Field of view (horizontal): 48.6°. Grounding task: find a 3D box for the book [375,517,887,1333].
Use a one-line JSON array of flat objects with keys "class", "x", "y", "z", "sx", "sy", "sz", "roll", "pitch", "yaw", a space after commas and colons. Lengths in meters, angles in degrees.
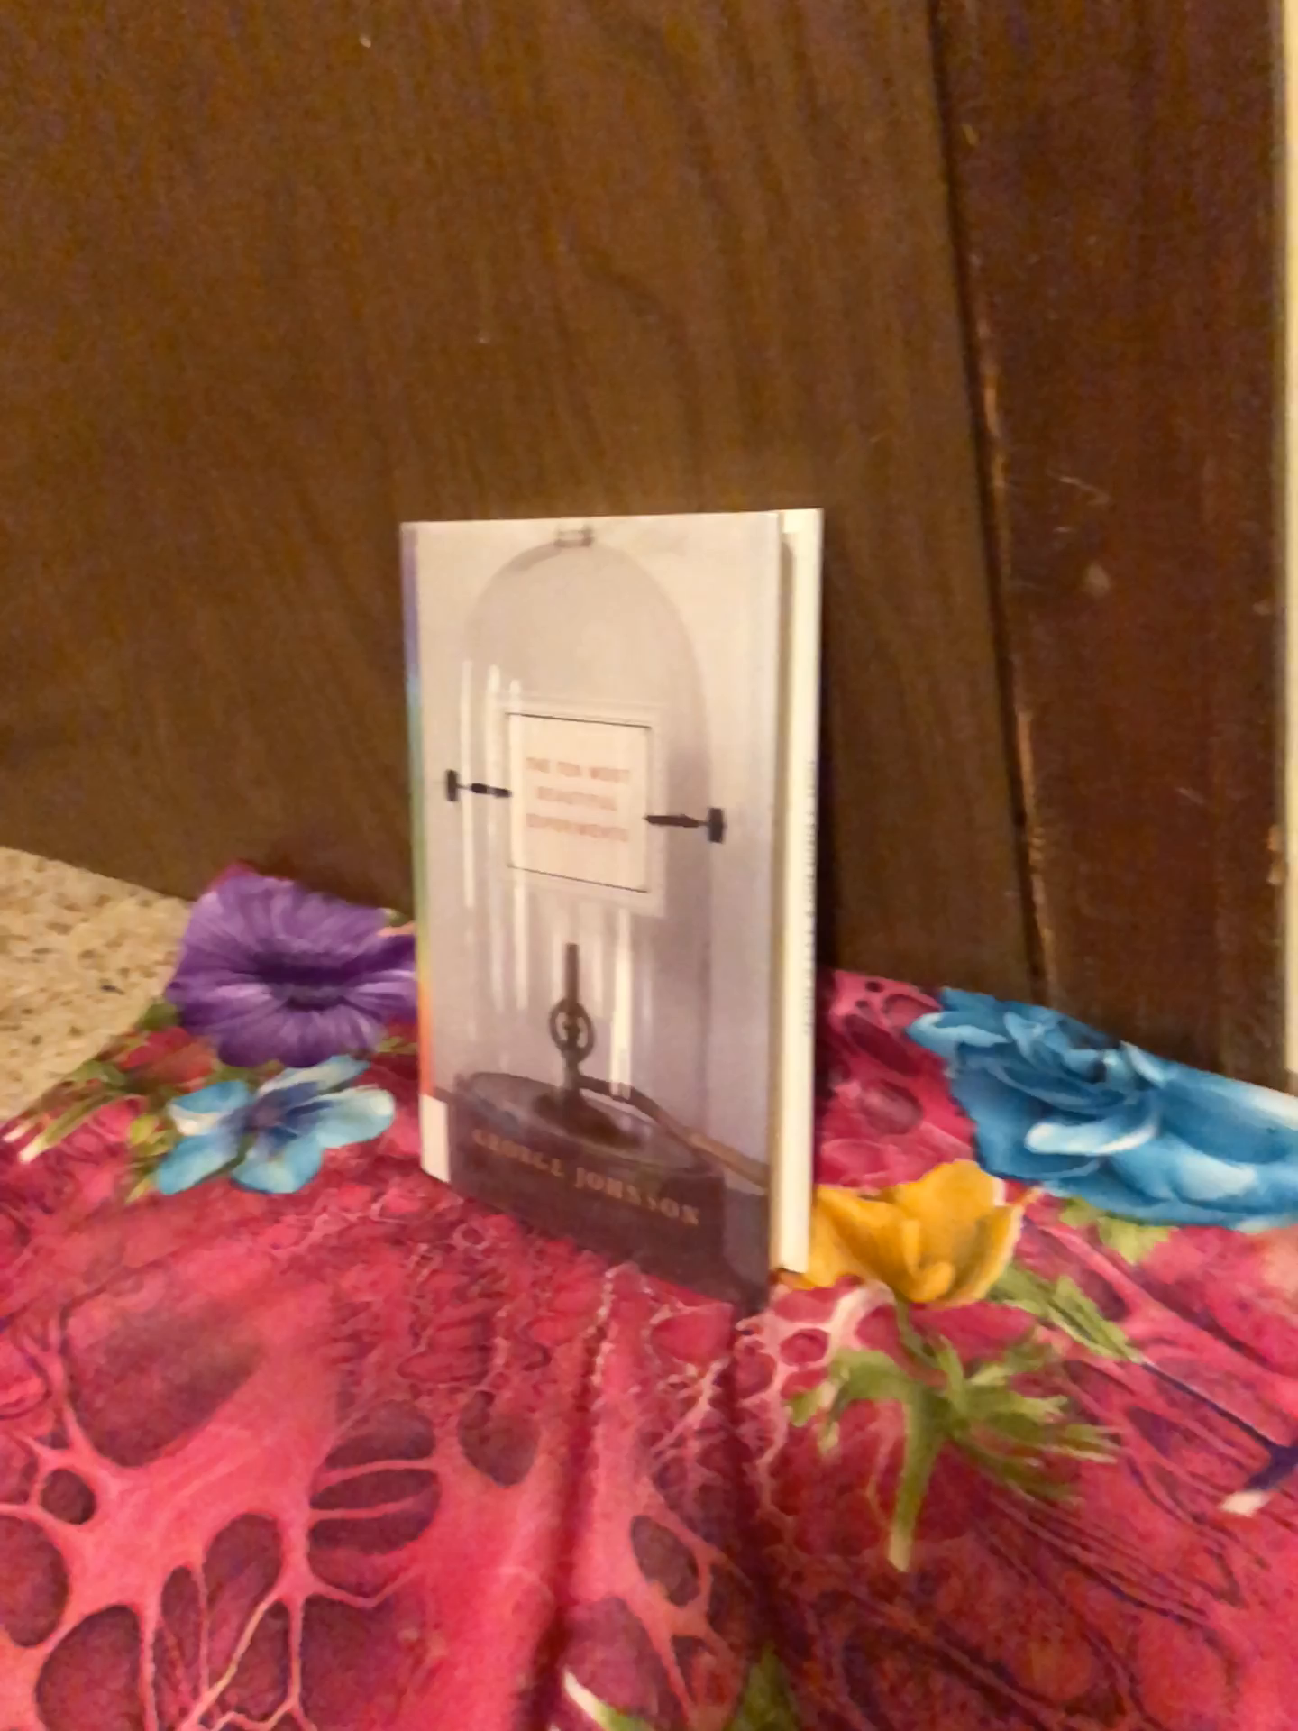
[{"class": "book", "x": -0.012, "y": 0.007, "z": 0.382, "sx": 0.140, "sy": 0.190, "sz": 0.033, "roll": 9, "pitch": 13, "yaw": 37}]
